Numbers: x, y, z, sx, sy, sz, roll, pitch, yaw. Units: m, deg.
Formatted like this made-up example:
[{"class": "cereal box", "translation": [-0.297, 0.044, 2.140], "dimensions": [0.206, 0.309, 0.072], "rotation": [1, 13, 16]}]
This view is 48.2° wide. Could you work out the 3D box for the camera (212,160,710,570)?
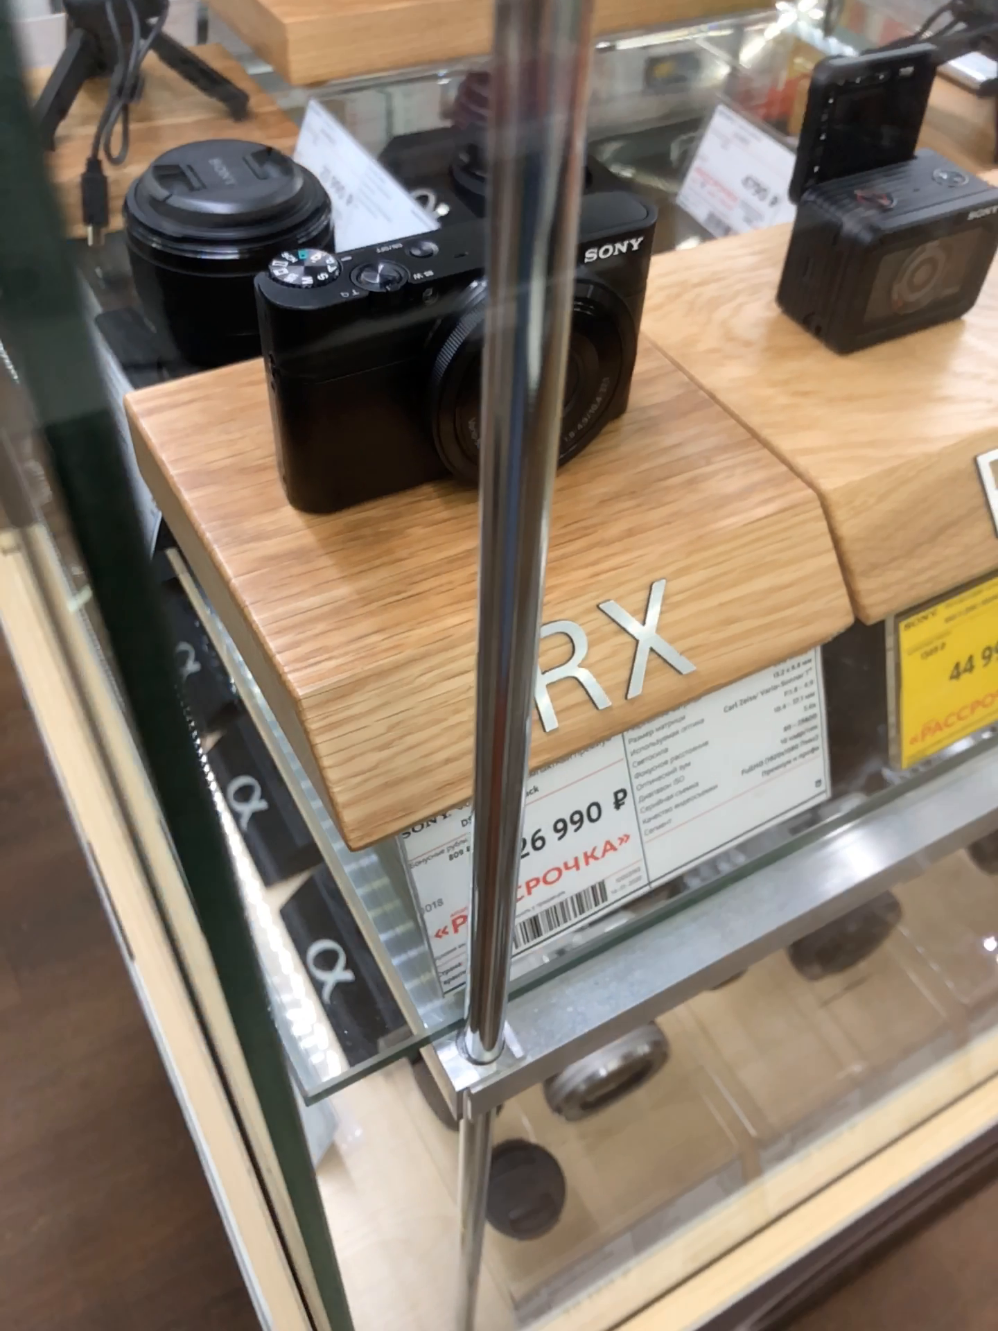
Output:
[{"class": "camera", "translation": [-0.008, -0.074, 0.272], "dimensions": [0.106, 0.062, 0.037], "rotation": [-22, 54, -21]}]
